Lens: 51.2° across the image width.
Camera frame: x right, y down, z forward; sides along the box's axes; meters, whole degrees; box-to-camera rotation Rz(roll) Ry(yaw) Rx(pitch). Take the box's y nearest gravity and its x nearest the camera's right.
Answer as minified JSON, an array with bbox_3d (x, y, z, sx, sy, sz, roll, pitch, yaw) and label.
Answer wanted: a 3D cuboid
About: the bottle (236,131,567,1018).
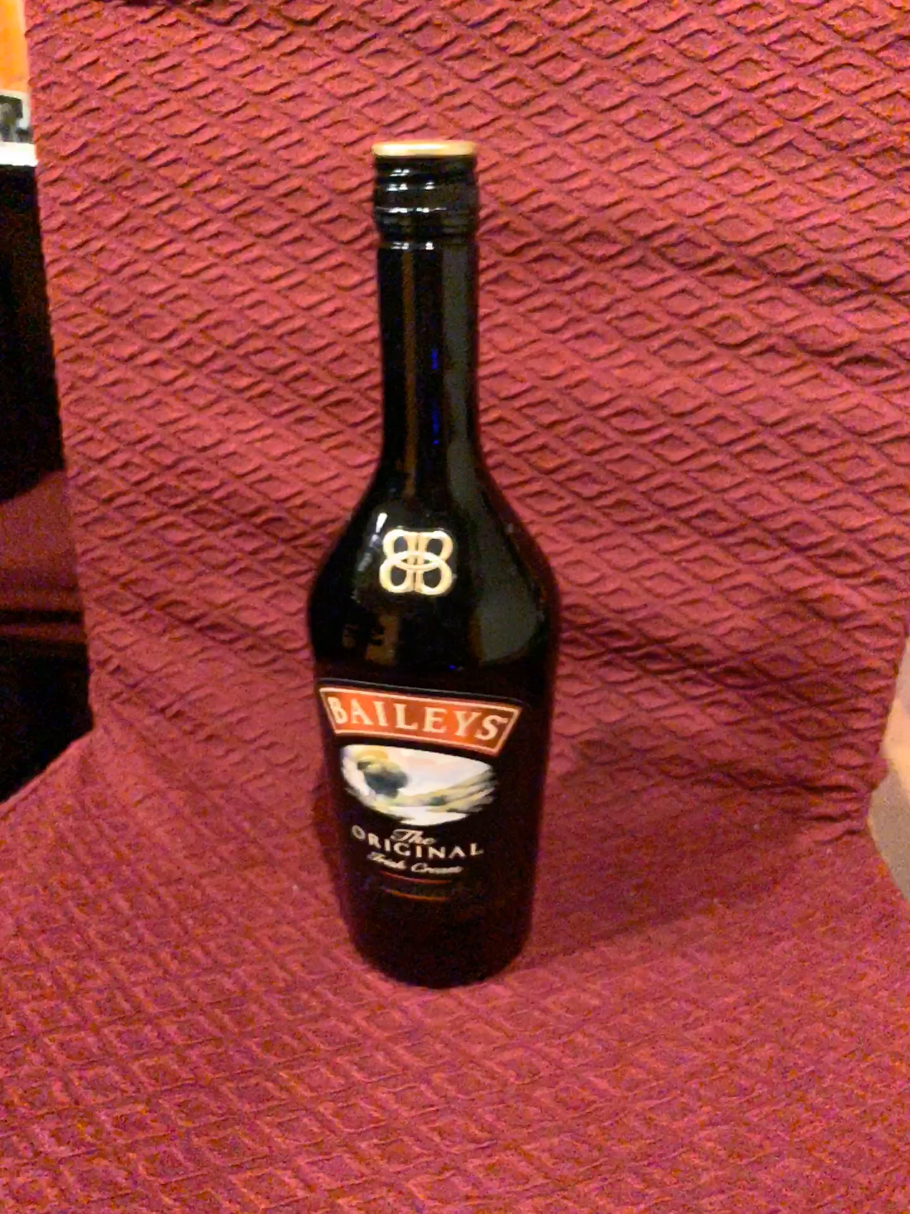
[{"bbox_3d":[-0.011,-0.001,0.328,0.080,0.289,0.070,4,23,11],"label":"bottle"}]
